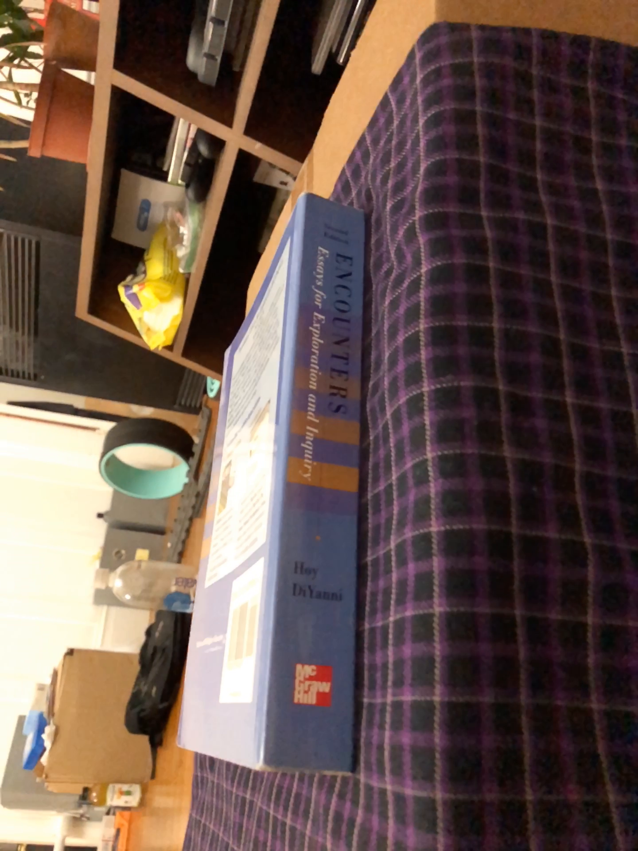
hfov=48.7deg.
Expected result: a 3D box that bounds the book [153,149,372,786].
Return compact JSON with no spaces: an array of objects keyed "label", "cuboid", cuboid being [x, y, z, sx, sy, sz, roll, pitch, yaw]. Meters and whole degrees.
[{"label":"book","cuboid":[-0.031,0.029,0.335,0.180,0.040,0.240,130,147,-61]}]
